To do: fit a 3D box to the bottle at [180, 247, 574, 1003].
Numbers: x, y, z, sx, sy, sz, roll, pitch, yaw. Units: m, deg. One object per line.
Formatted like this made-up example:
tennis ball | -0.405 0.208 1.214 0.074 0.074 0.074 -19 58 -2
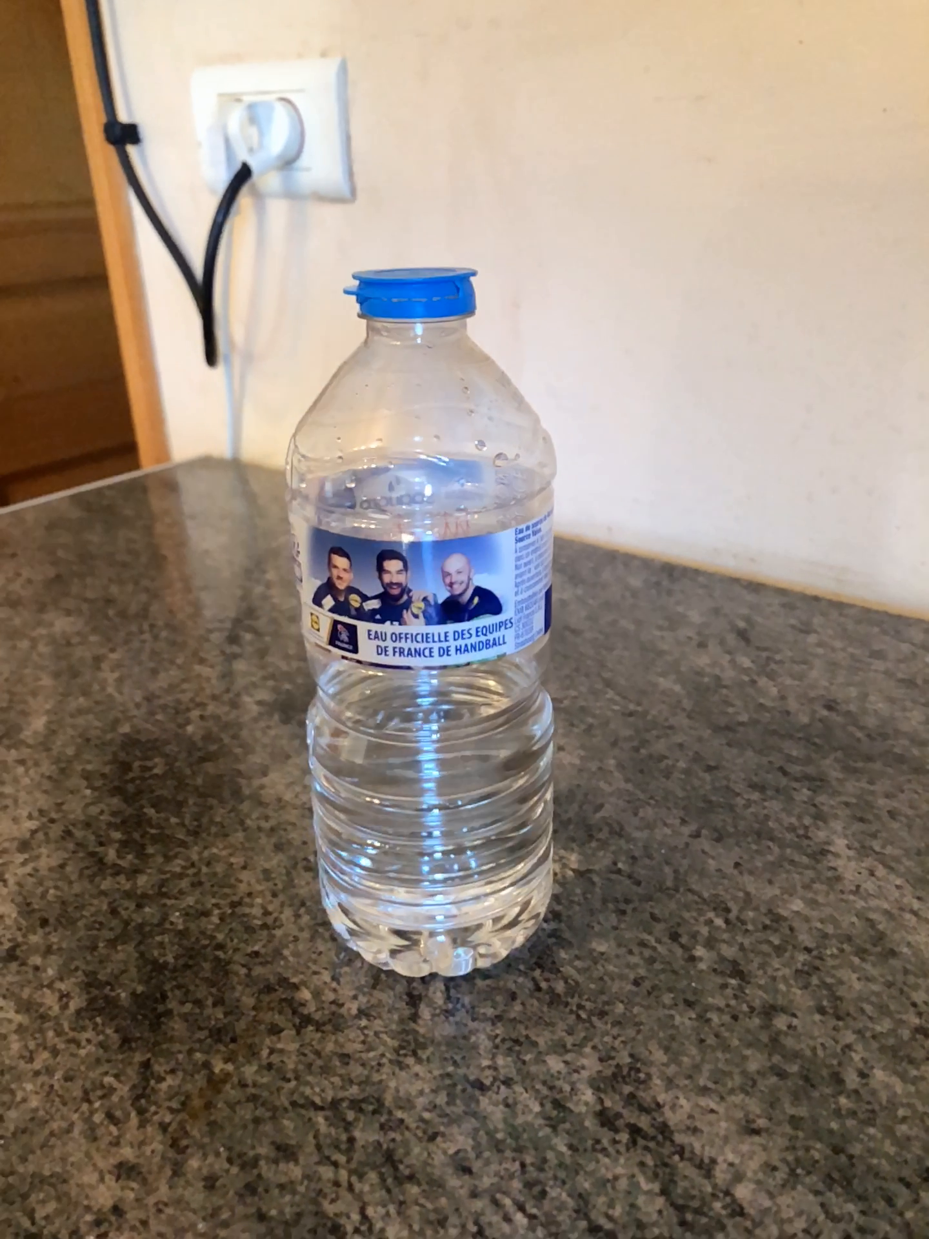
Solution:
bottle | -0.010 0.001 0.256 0.070 0.169 0.070 -3 22 1
